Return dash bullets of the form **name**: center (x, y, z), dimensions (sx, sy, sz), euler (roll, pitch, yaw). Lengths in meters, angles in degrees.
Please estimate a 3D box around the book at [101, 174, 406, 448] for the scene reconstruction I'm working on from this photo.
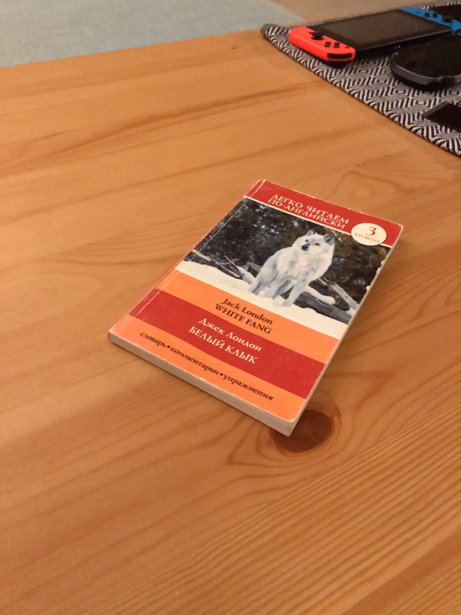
- **book**: center (0.028, -0.018, 0.358), dimensions (0.129, 0.020, 0.205), euler (24, 50, 19)
